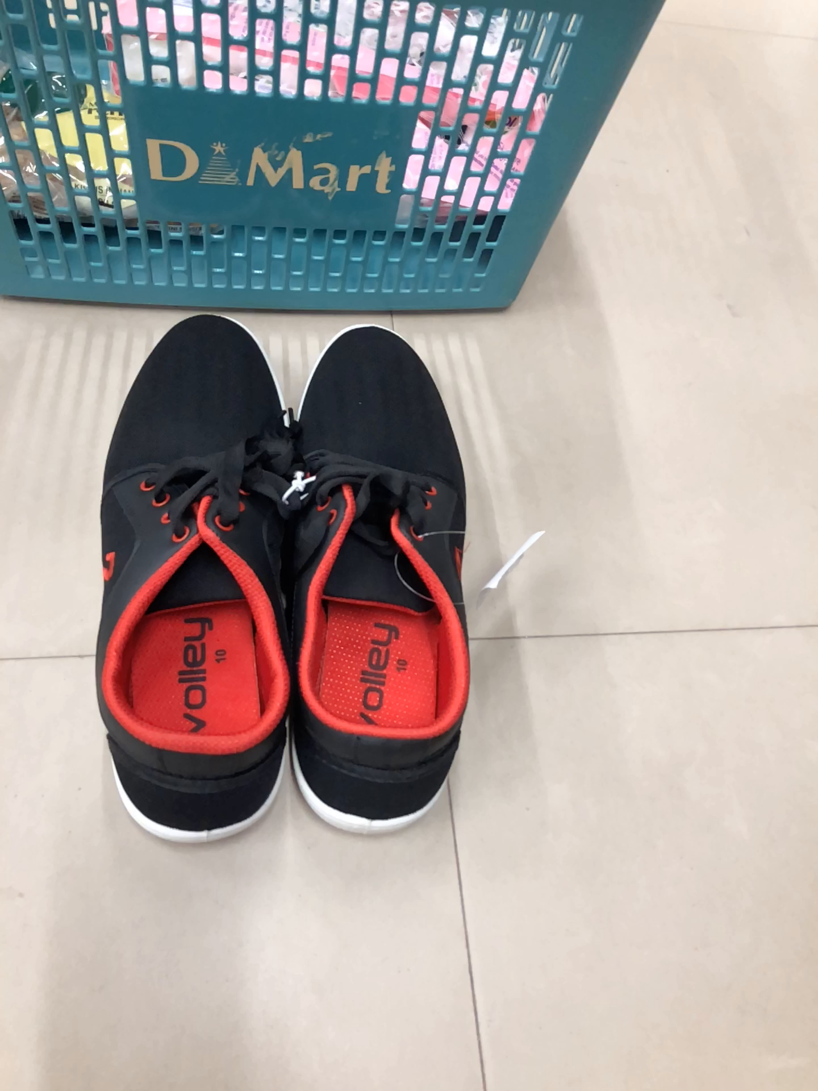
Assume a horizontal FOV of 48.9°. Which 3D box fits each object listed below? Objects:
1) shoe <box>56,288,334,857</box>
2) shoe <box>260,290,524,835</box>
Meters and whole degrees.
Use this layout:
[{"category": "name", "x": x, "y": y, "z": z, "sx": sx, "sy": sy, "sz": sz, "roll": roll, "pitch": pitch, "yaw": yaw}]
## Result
[{"category": "shoe", "x": -0.109, "y": 0.006, "z": 0.451, "sx": 0.105, "sy": 0.103, "sz": 0.261, "roll": -3, "pitch": 63, "yaw": -13}, {"category": "shoe", "x": -0.015, "y": 0.007, "z": 0.470, "sx": 0.105, "sy": 0.103, "sz": 0.261, "roll": 4, "pitch": 61, "yaw": -9}]
